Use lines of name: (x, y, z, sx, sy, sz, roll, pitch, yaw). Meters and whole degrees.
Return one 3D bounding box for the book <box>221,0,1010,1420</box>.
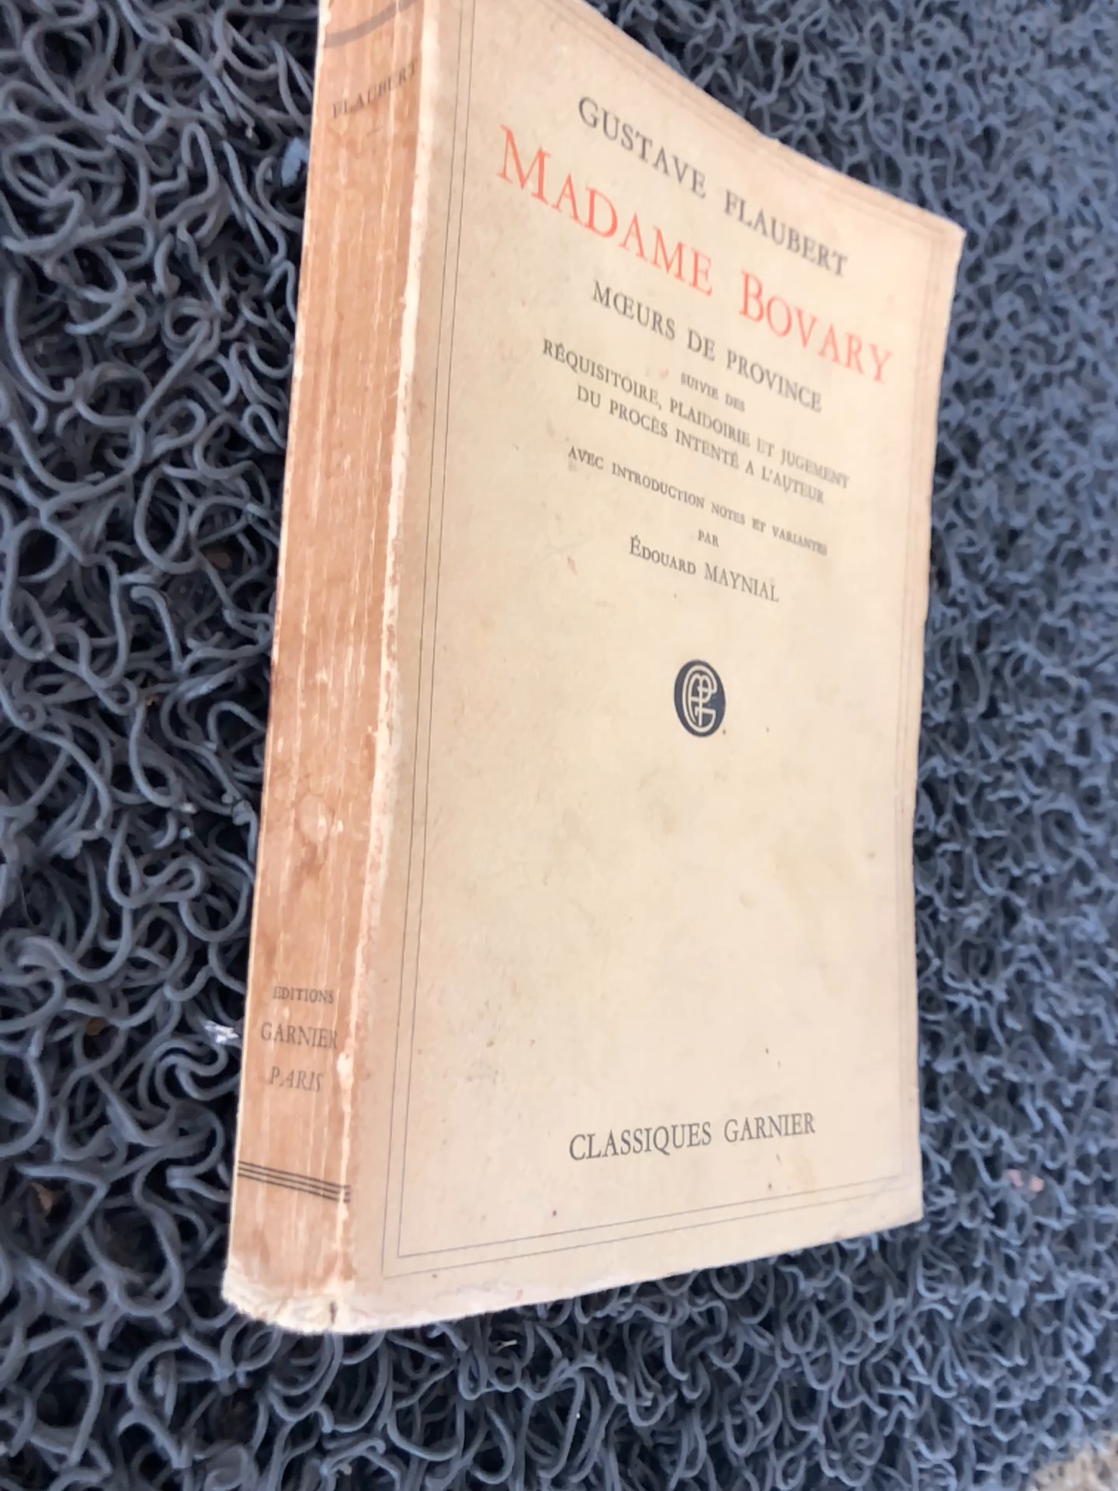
book: (0.020, -0.012, 0.193, 0.124, 0.035, 0.180, 11, 77, -42)
